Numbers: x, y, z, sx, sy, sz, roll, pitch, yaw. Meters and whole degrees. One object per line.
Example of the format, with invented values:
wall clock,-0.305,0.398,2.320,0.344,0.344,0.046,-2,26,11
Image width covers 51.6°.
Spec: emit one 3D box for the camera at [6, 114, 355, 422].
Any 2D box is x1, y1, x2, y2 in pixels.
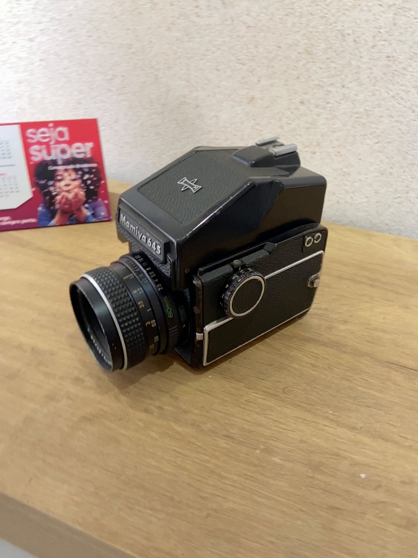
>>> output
camera,-0.019,-0.025,0.285,0.160,0.109,0.130,-22,41,-28
